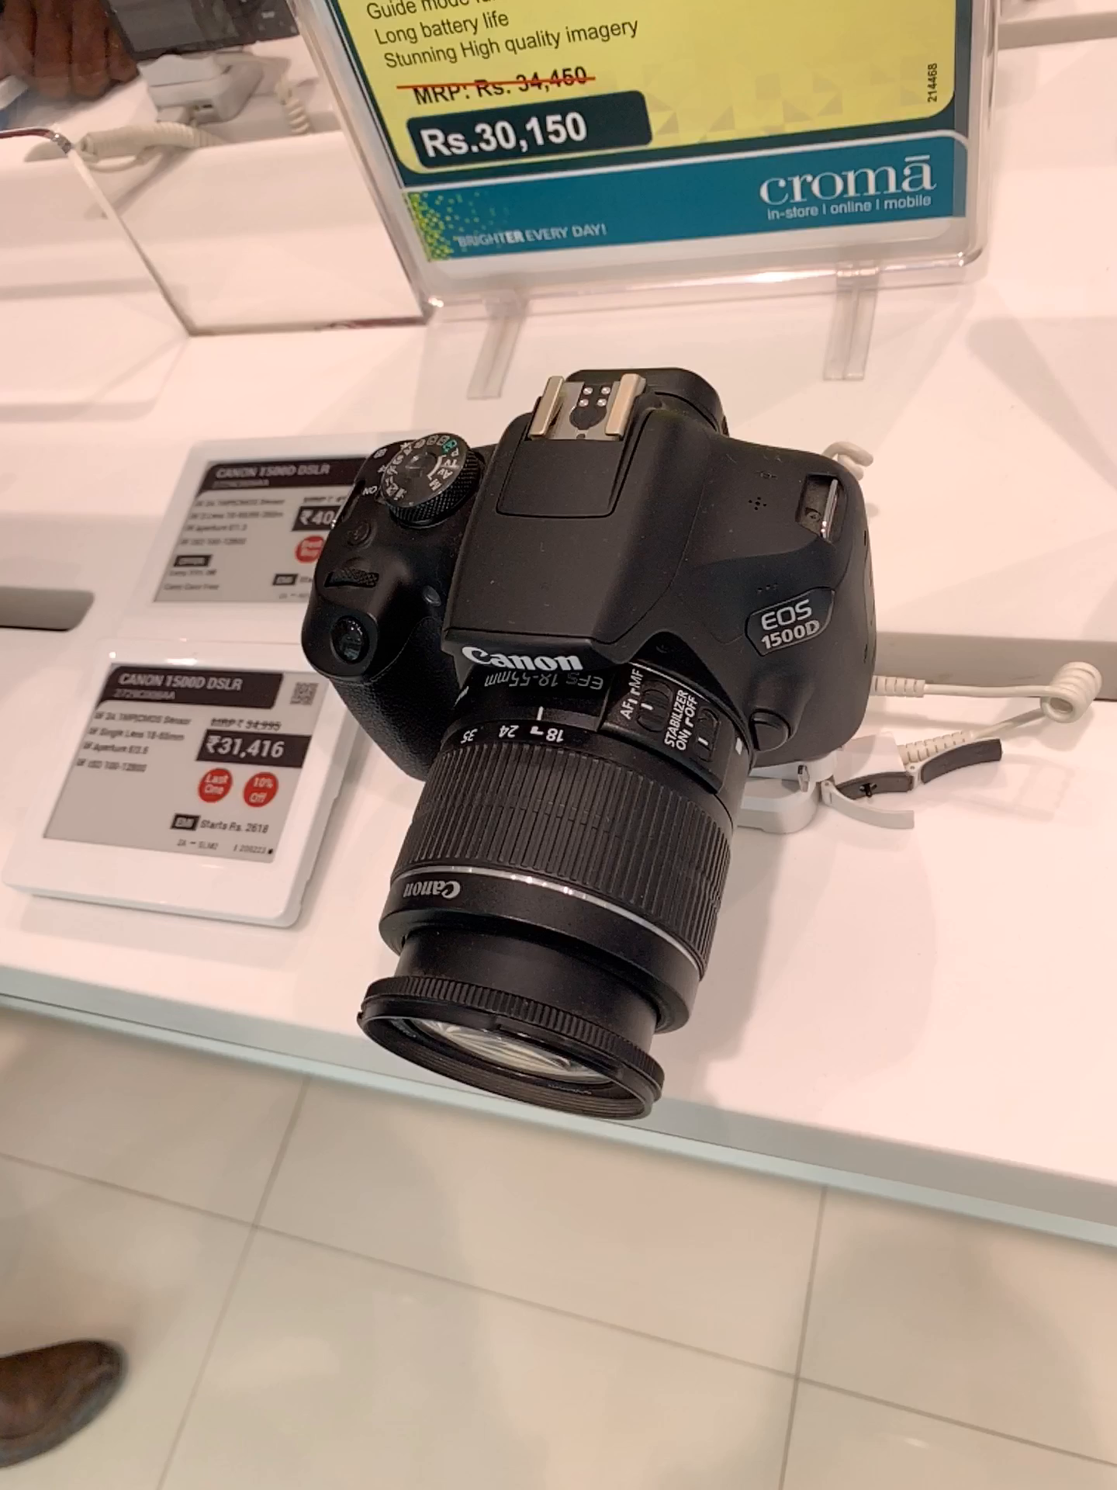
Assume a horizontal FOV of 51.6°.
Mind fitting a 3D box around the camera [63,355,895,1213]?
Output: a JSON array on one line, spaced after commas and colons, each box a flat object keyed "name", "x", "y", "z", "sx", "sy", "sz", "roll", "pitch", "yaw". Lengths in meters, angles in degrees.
[{"name": "camera", "x": 0.001, "y": 0.004, "z": 0.231, "sx": 0.110, "sy": 0.090, "sz": 0.130, "roll": 6, "pitch": 60, "yaw": 21}]
